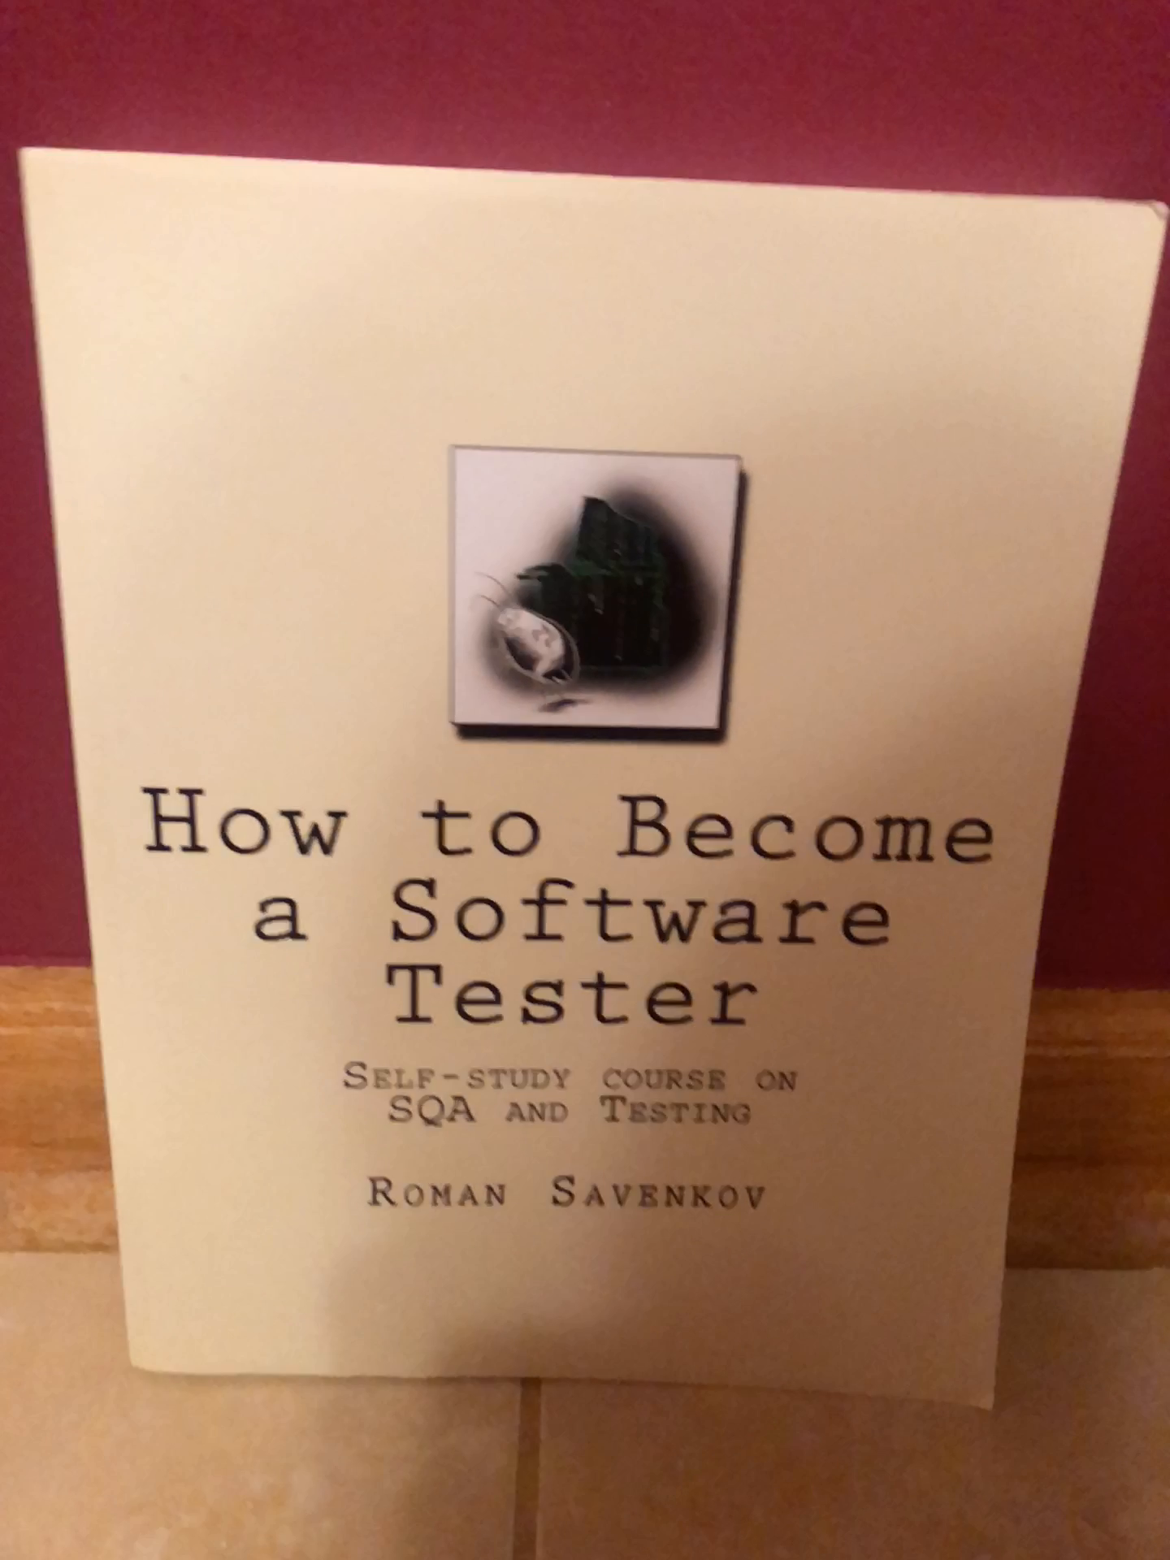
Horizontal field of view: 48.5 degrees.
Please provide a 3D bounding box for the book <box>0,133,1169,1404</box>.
[{"bbox_3d":[-0.002,0.011,0.291,0.220,0.274,0.045,1,19,0],"label":"book"}]
